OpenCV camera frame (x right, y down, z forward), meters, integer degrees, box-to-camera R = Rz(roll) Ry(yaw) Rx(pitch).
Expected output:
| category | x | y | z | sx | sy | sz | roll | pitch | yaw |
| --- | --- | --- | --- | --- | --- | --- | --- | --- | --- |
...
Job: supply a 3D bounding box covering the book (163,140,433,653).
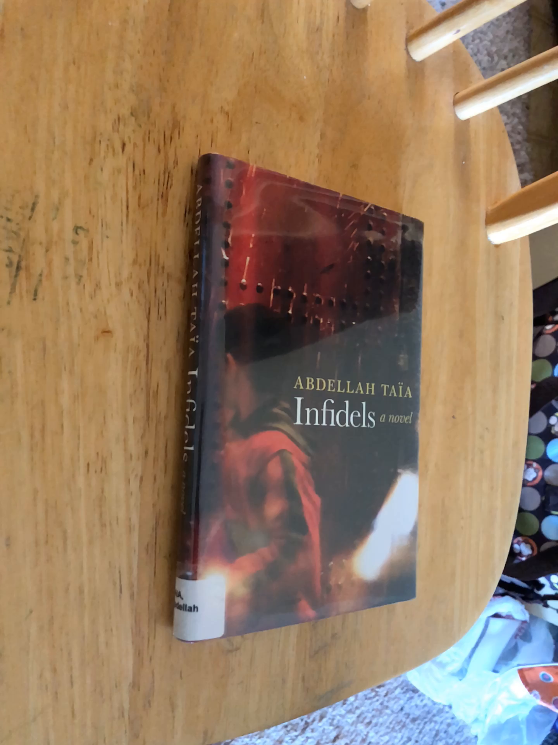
| category | x | y | z | sx | sy | sz | roll | pitch | yaw |
| --- | --- | --- | --- | --- | --- | --- | --- | --- | --- |
| book | 0.019 | 0.013 | 0.310 | 0.143 | 0.020 | 0.216 | 6 | 83 | -35 |
